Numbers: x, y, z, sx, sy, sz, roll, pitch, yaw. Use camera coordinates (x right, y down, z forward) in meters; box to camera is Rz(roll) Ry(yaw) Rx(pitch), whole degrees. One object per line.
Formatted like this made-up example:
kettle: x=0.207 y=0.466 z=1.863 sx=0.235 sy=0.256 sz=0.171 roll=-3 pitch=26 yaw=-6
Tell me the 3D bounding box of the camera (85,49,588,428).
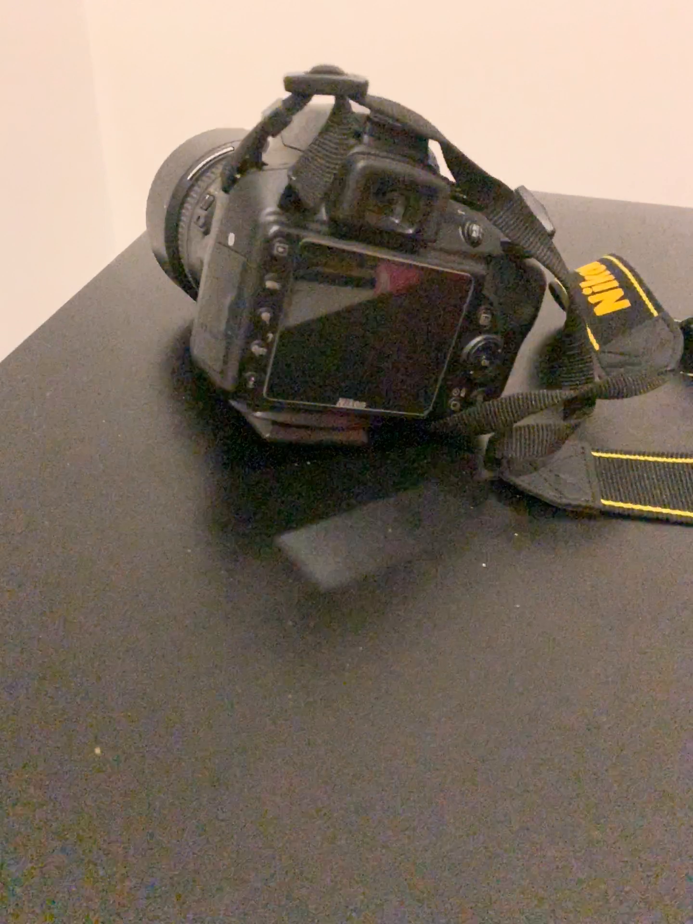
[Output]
camera: x=-0.029 y=-0.107 z=0.312 sx=0.116 sy=0.089 sz=0.221 roll=4 pitch=26 yaw=-31
